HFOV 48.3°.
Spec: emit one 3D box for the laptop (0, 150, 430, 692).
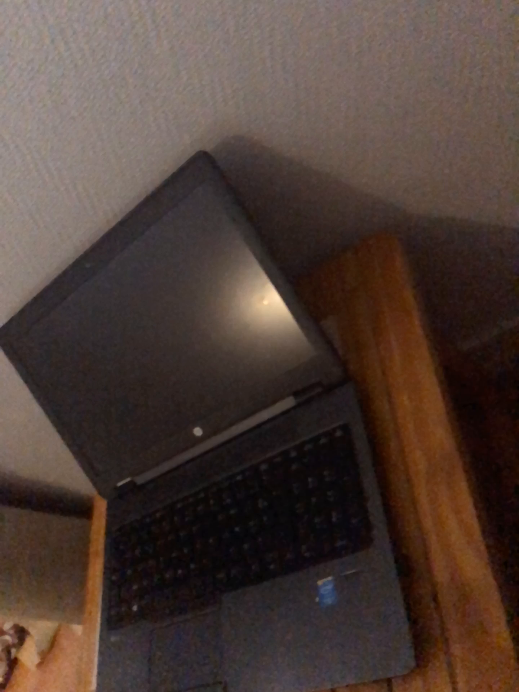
[{"bbox_3d":[-0.102,0.108,0.573,0.383,0.195,0.410,-31,47,30],"label":"laptop"}]
